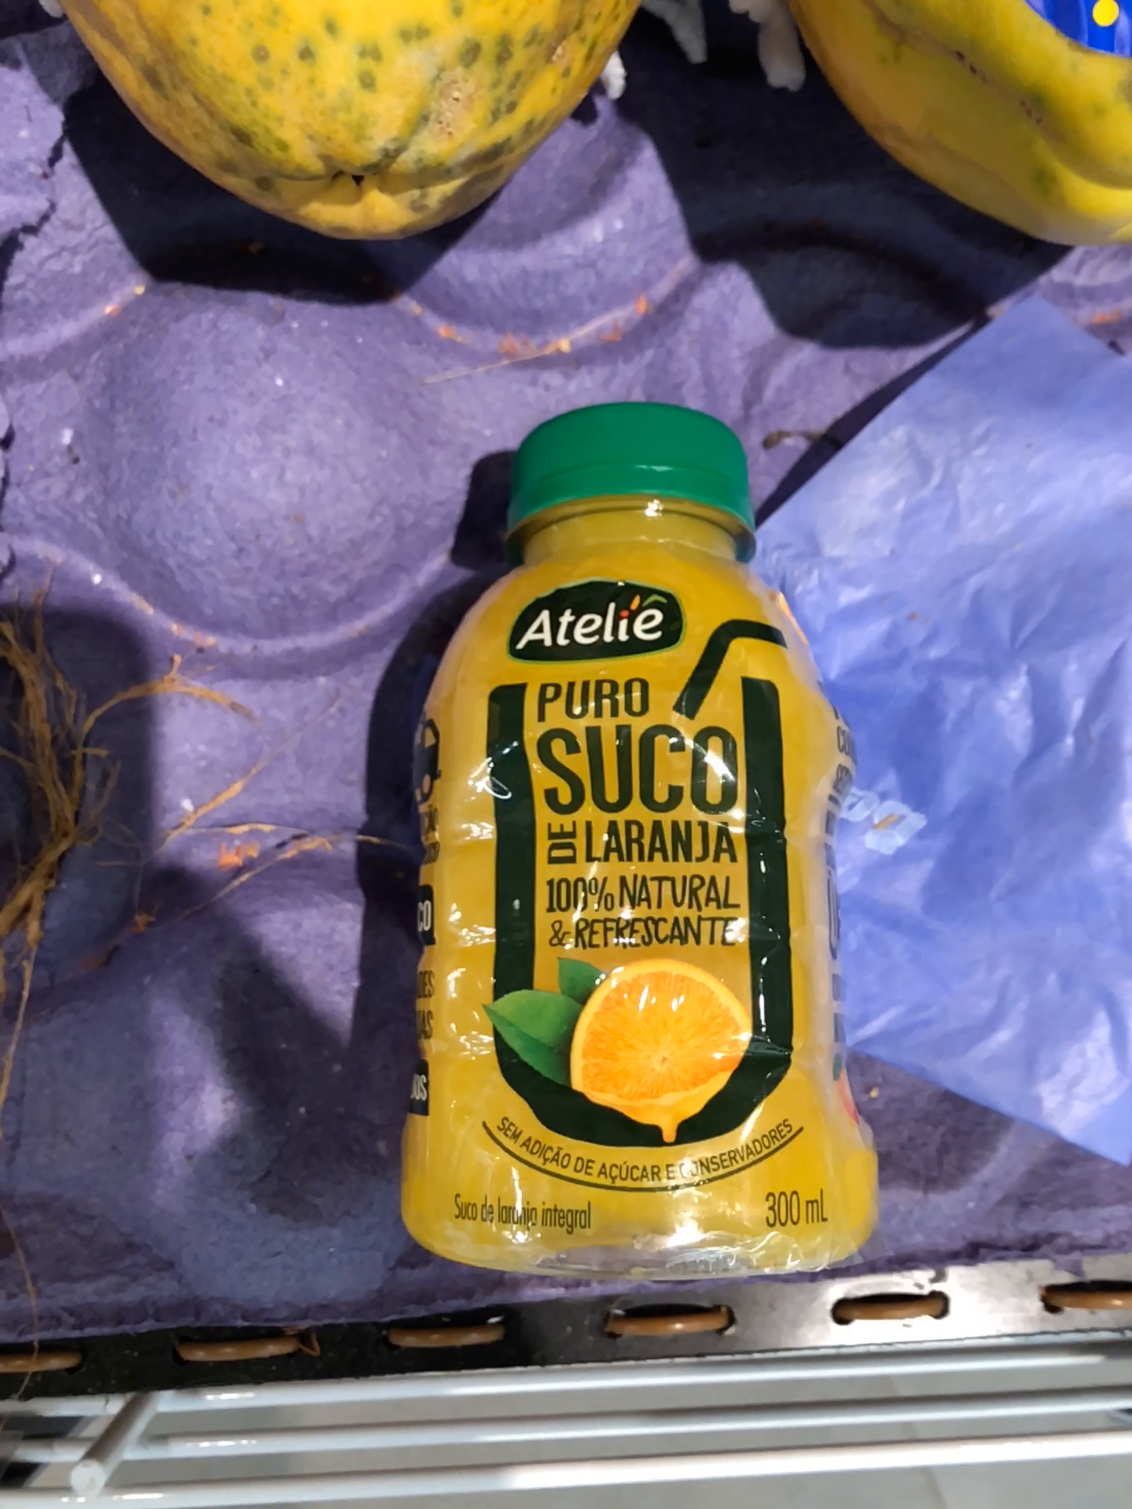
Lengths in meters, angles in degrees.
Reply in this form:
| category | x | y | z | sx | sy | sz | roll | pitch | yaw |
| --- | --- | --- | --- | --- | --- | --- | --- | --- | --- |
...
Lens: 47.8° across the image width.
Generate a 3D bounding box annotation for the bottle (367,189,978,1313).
| category | x | y | z | sx | sy | sz | roll | pitch | yaw |
| --- | --- | --- | --- | --- | --- | --- | --- | --- | --- |
| bottle | 0.012 | -0.001 | 0.191 | 0.070 | 0.060 | 0.140 | -2 | 84 | 0 |
